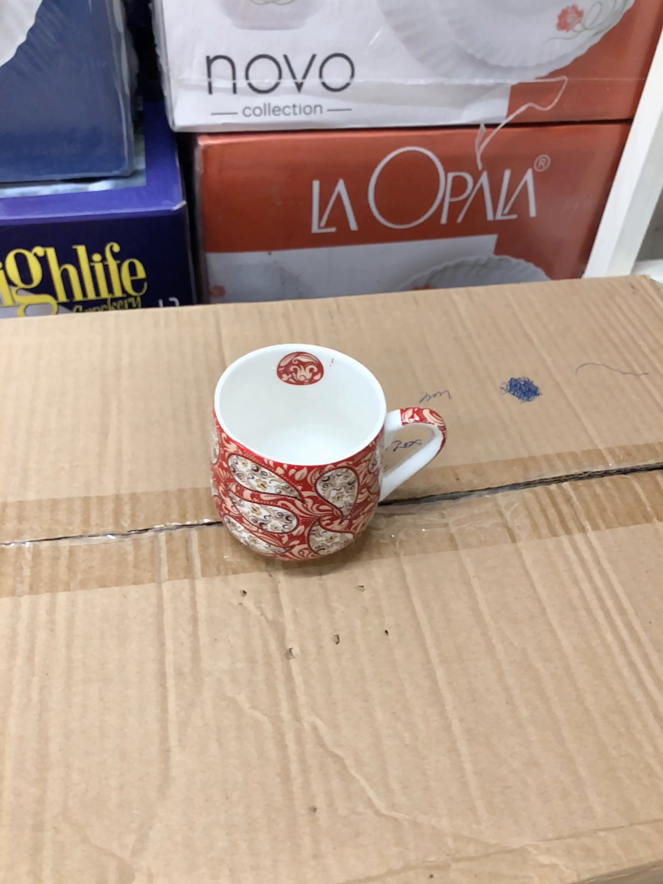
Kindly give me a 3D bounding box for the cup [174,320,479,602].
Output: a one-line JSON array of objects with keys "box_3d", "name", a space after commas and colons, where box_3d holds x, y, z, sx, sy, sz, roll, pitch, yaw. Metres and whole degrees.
[{"box_3d": [-0.006, 0.004, 0.276, 0.090, 0.060, 0.070, -9, 45, -13], "name": "cup"}]
